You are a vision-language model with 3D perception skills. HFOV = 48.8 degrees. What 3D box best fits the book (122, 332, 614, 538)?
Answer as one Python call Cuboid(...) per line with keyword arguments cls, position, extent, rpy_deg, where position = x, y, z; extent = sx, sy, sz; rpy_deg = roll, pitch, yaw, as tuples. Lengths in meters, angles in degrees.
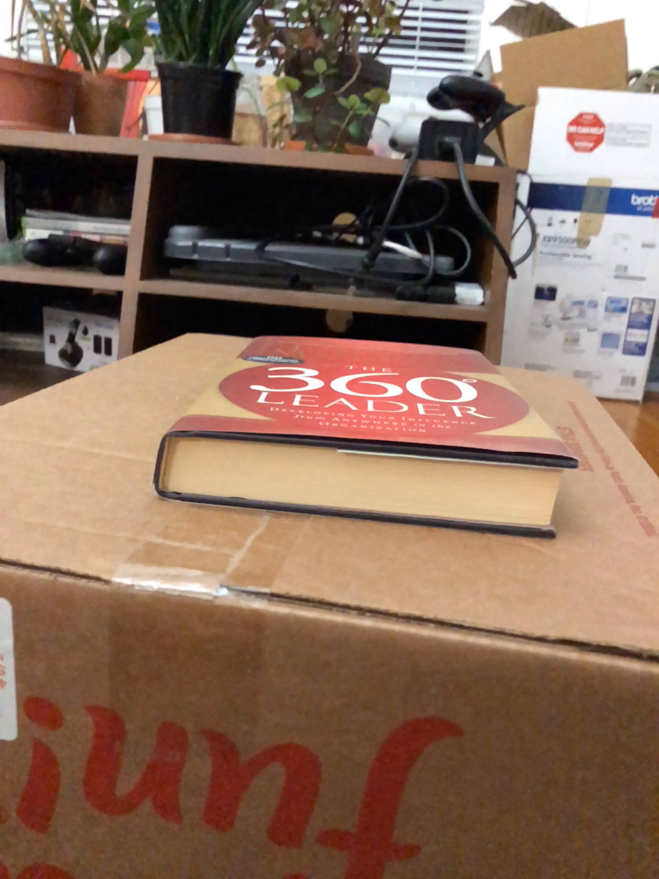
Cuboid(cls="book", position=(0.020, -0.019, 0.385), extent=(0.180, 0.030, 0.241), rpy_deg=(5, 16, 3))
